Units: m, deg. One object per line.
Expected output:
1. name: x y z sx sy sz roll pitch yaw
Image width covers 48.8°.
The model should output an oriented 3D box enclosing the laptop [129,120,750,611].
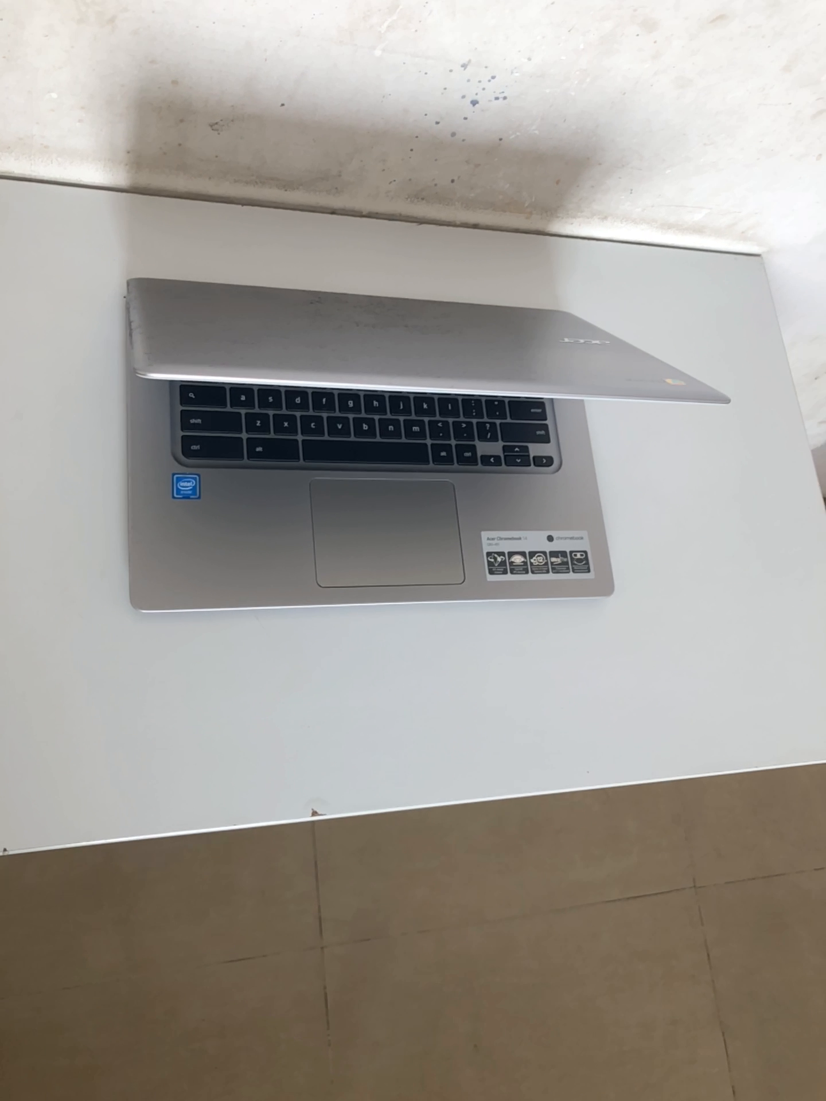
1. laptop: -0.001 -0.095 0.559 0.326 0.155 0.222 -1 72 -18
